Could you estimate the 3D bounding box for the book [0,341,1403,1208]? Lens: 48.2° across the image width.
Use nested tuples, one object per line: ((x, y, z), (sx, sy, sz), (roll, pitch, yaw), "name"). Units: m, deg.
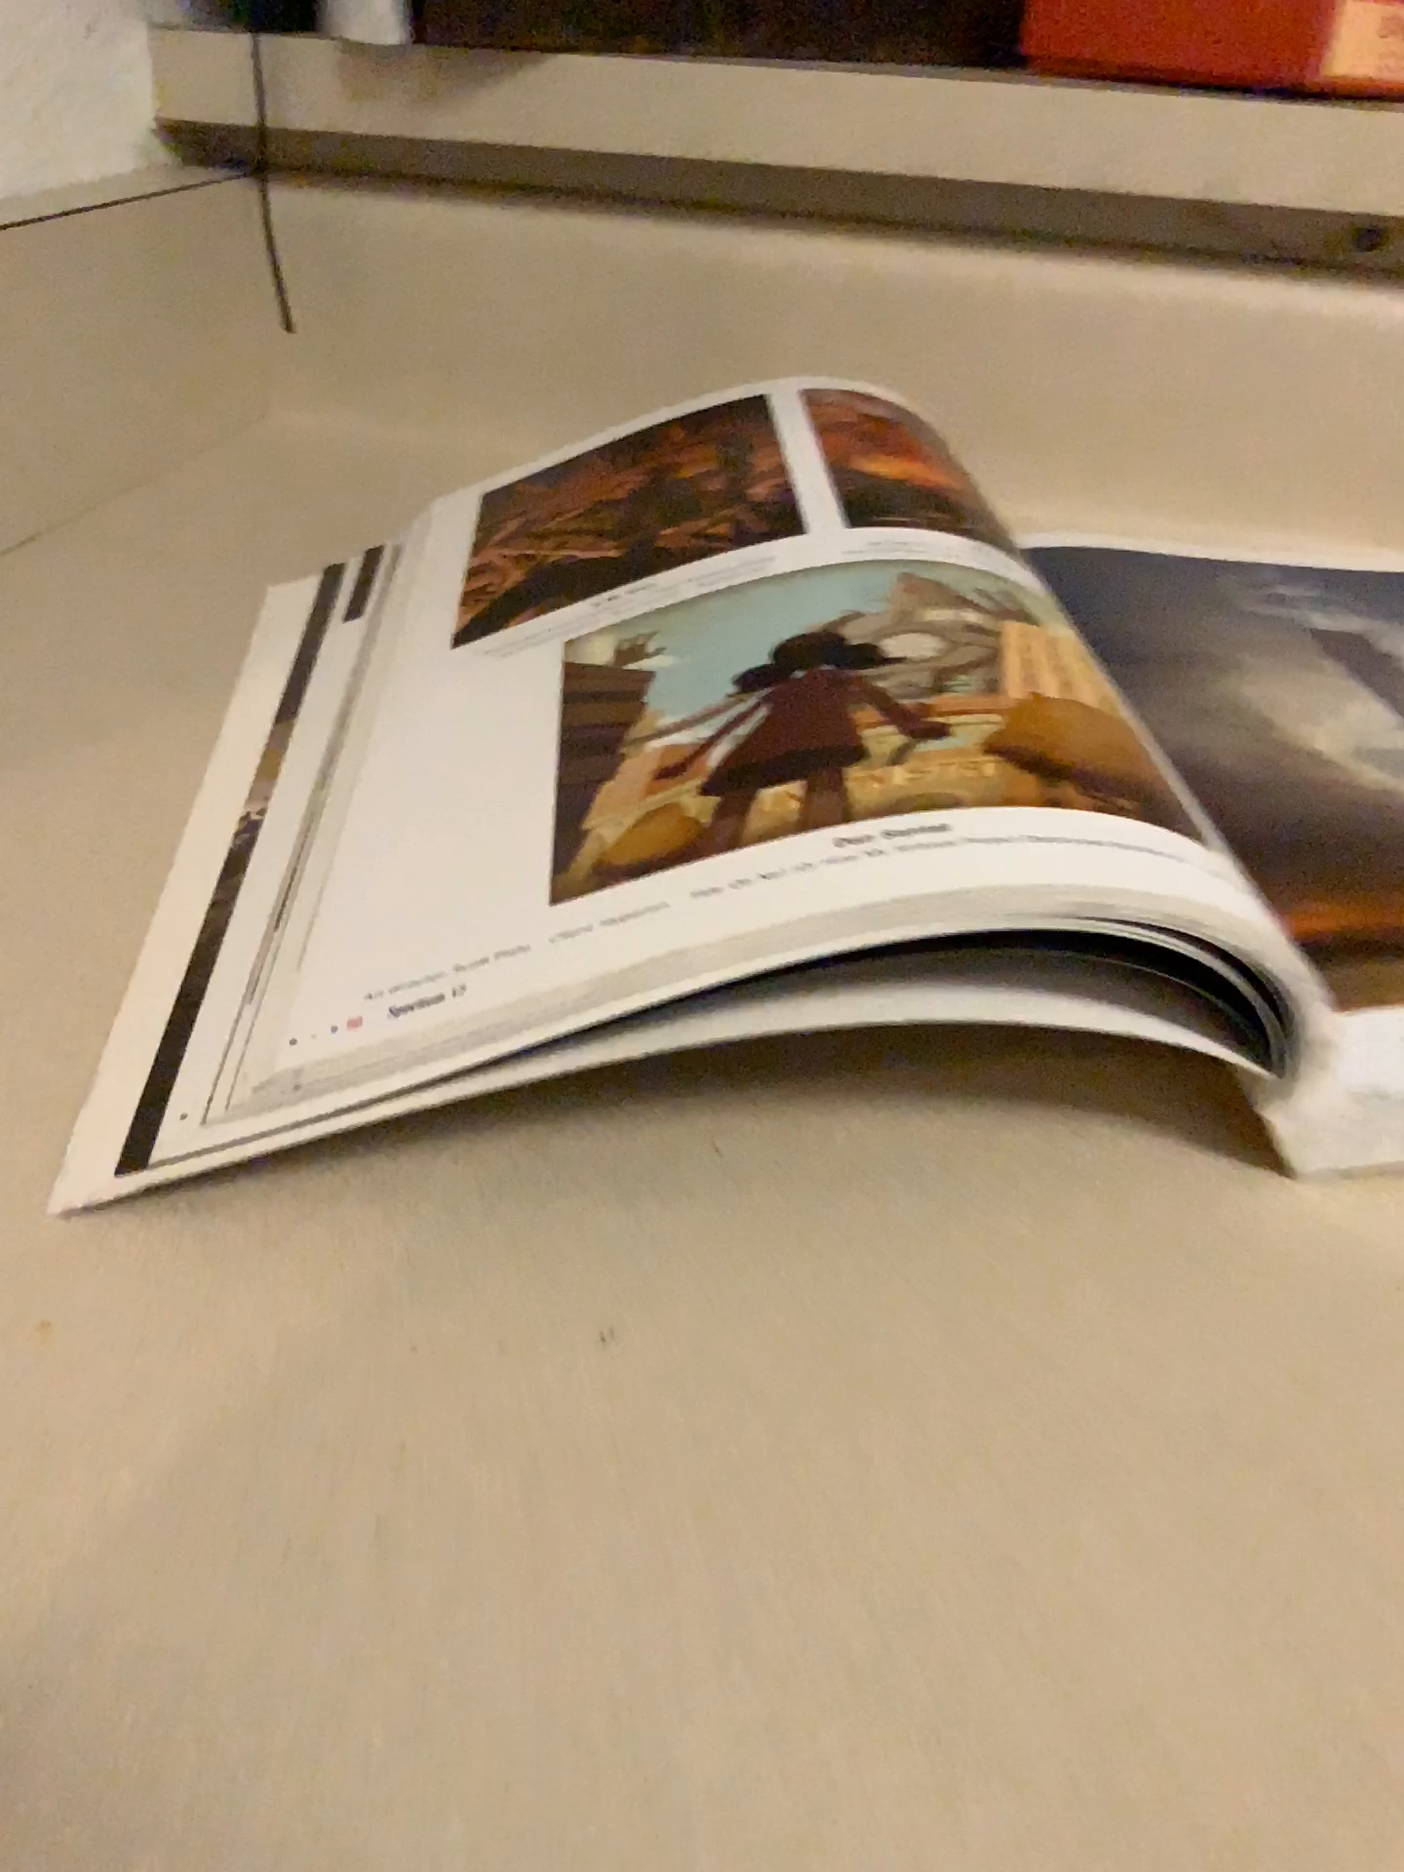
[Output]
((0.106, -0.072, 0.397), (0.450, 0.070, 0.320), (0, 32, -6), "book")
